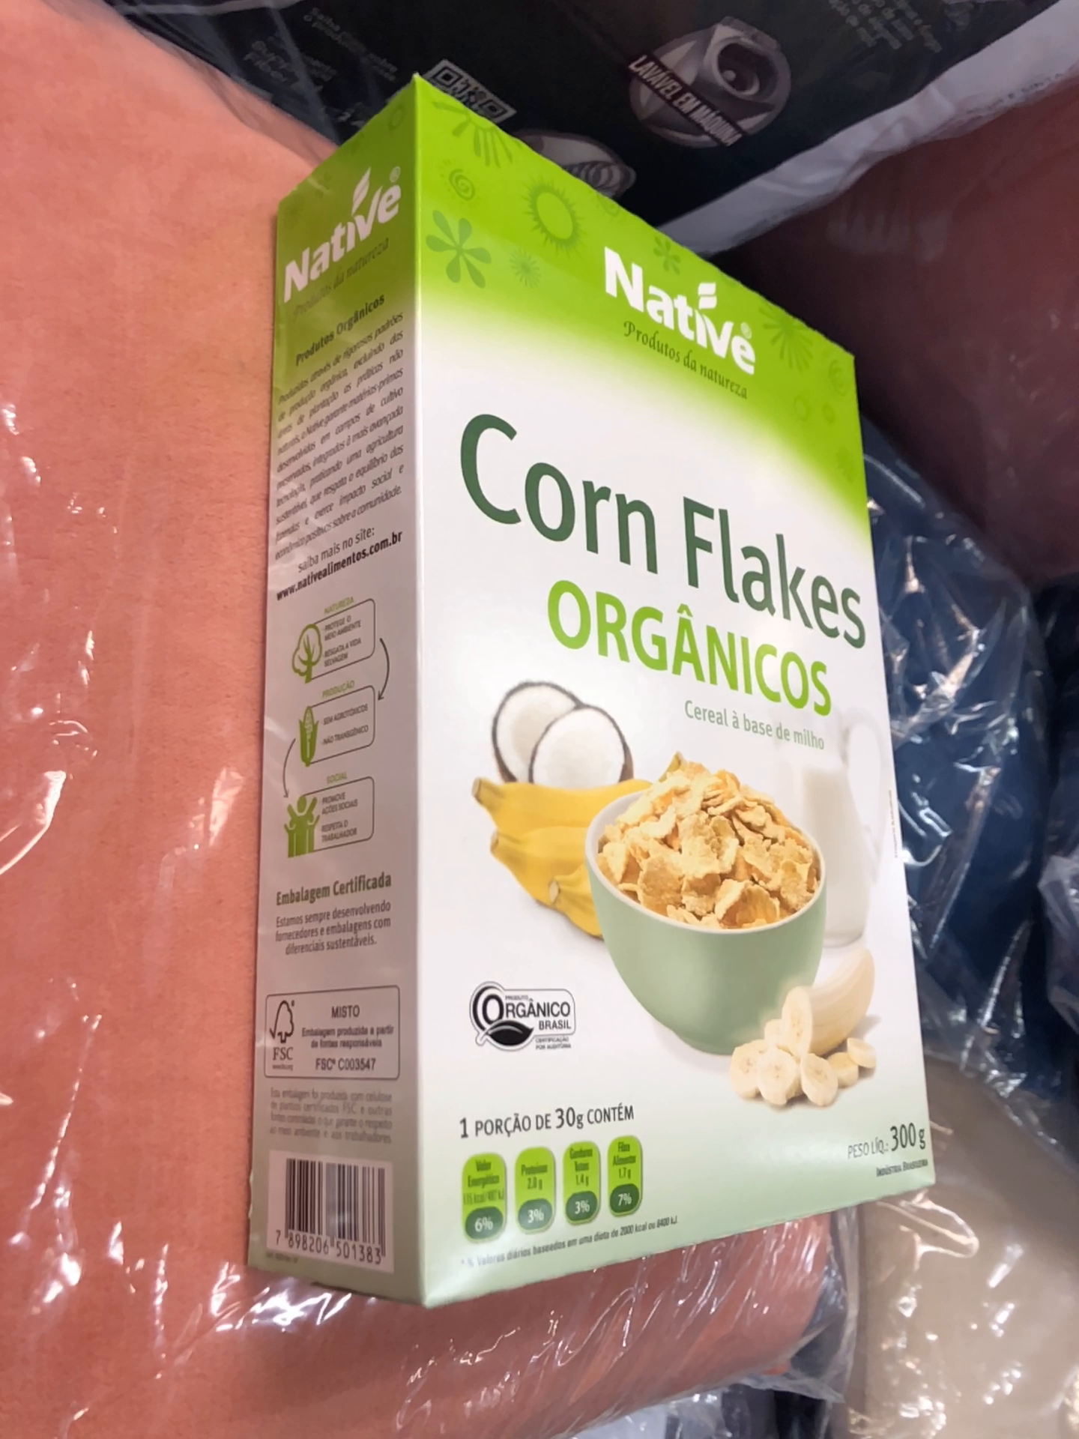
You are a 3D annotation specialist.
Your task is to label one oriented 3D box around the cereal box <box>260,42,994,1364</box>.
[{"bbox_3d":[0.029,0.000,0.294,0.181,0.060,0.240,13,70,-45],"label":"cereal box"}]
